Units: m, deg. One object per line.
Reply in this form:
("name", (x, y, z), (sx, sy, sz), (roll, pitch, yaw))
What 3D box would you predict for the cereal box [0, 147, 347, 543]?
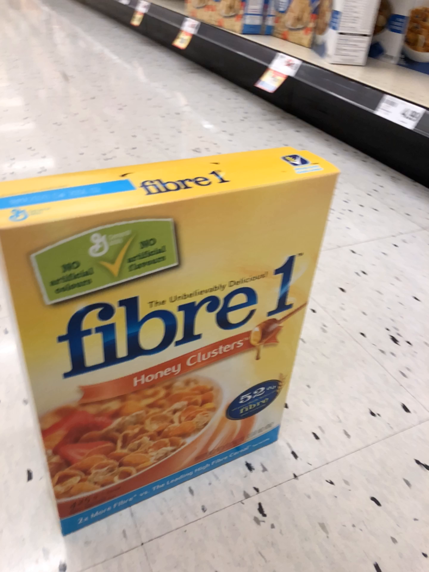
("cereal box", (-0.027, 0.045, 0.323), (0.190, 0.248, 0.050), (-14, 39, -26))
